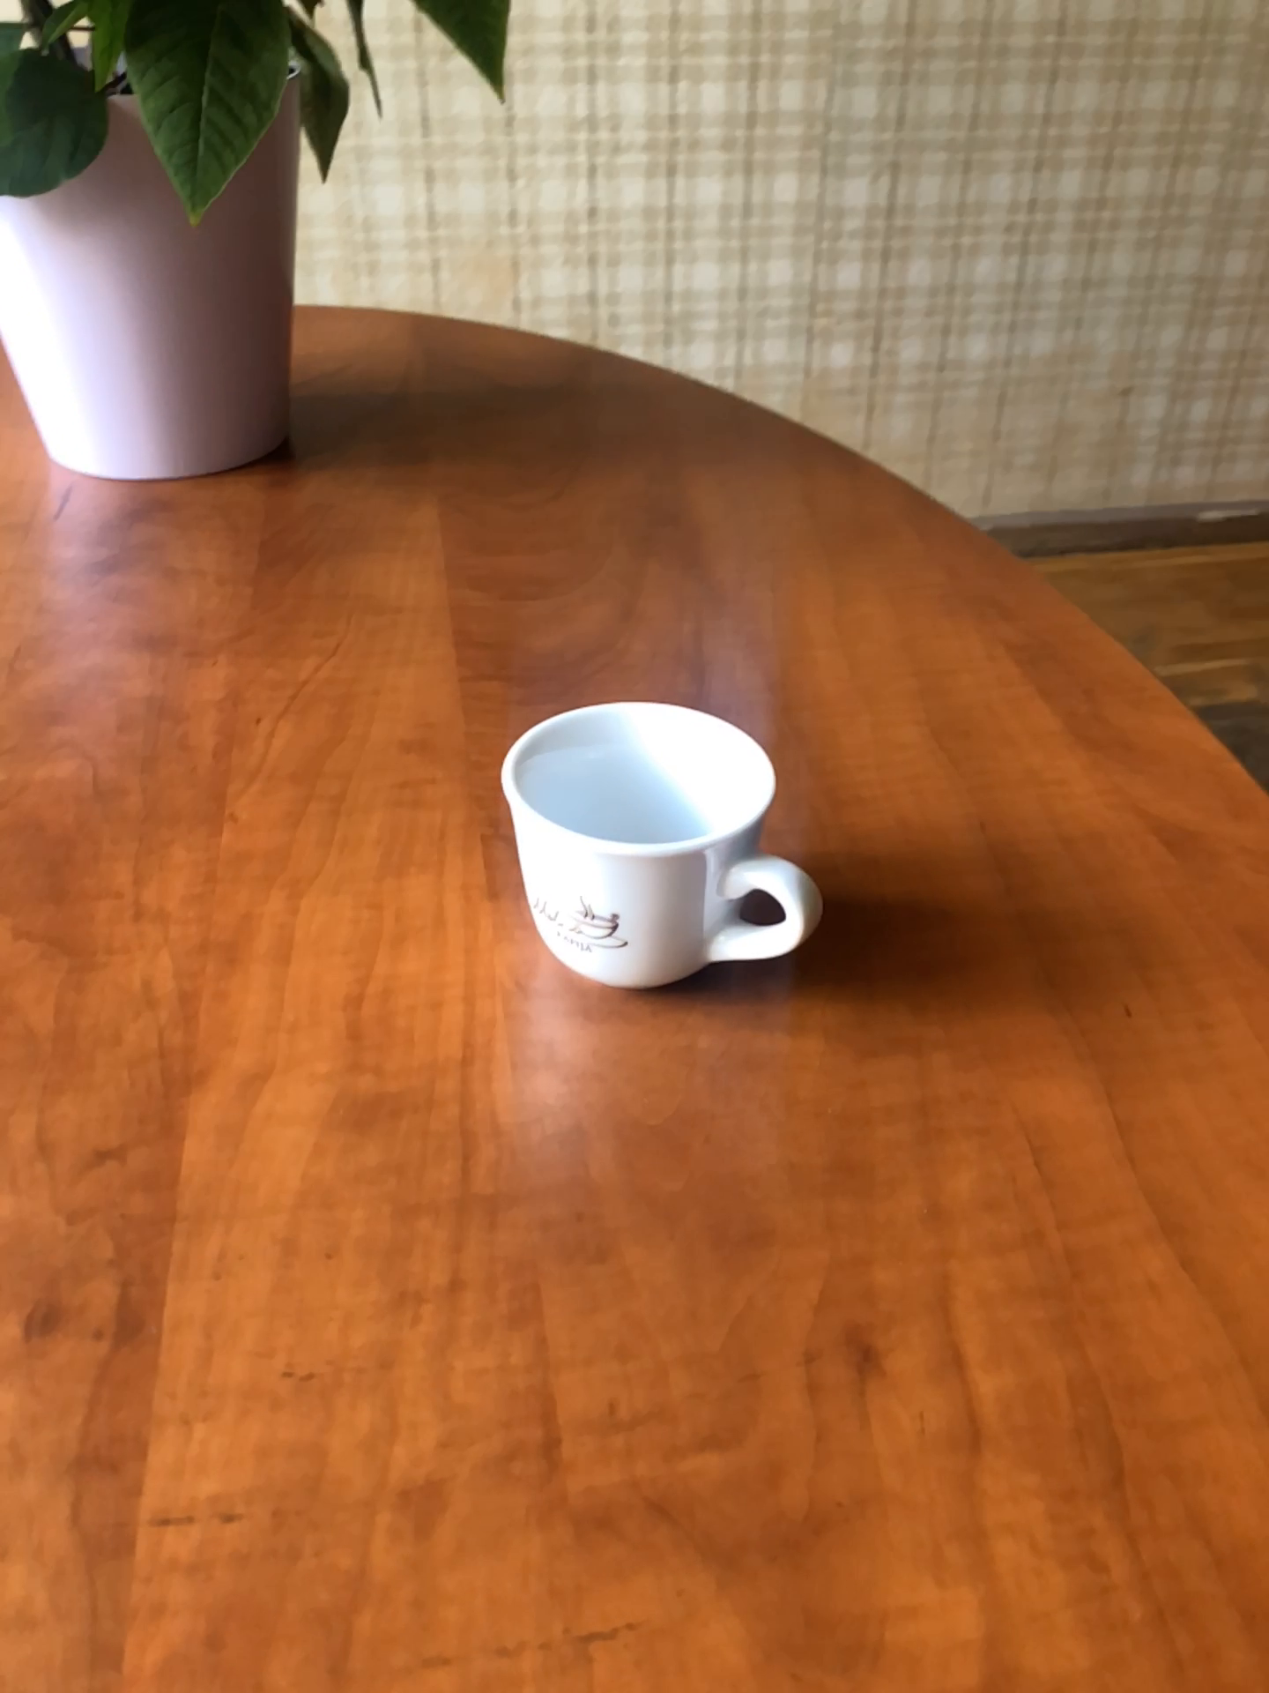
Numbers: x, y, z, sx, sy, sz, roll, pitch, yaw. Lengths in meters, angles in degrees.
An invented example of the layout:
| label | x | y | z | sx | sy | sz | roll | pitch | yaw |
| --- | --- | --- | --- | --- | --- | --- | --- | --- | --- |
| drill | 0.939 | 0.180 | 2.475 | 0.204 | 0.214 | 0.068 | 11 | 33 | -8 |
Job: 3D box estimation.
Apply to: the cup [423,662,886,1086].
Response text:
| label | x | y | z | sx | sy | sz | roll | pitch | yaw |
| --- | --- | --- | --- | --- | --- | --- | --- | --- | --- |
| cup | 0.005 | 0.003 | 0.329 | 0.083 | 0.050 | 0.065 | 20 | 39 | 24 |
